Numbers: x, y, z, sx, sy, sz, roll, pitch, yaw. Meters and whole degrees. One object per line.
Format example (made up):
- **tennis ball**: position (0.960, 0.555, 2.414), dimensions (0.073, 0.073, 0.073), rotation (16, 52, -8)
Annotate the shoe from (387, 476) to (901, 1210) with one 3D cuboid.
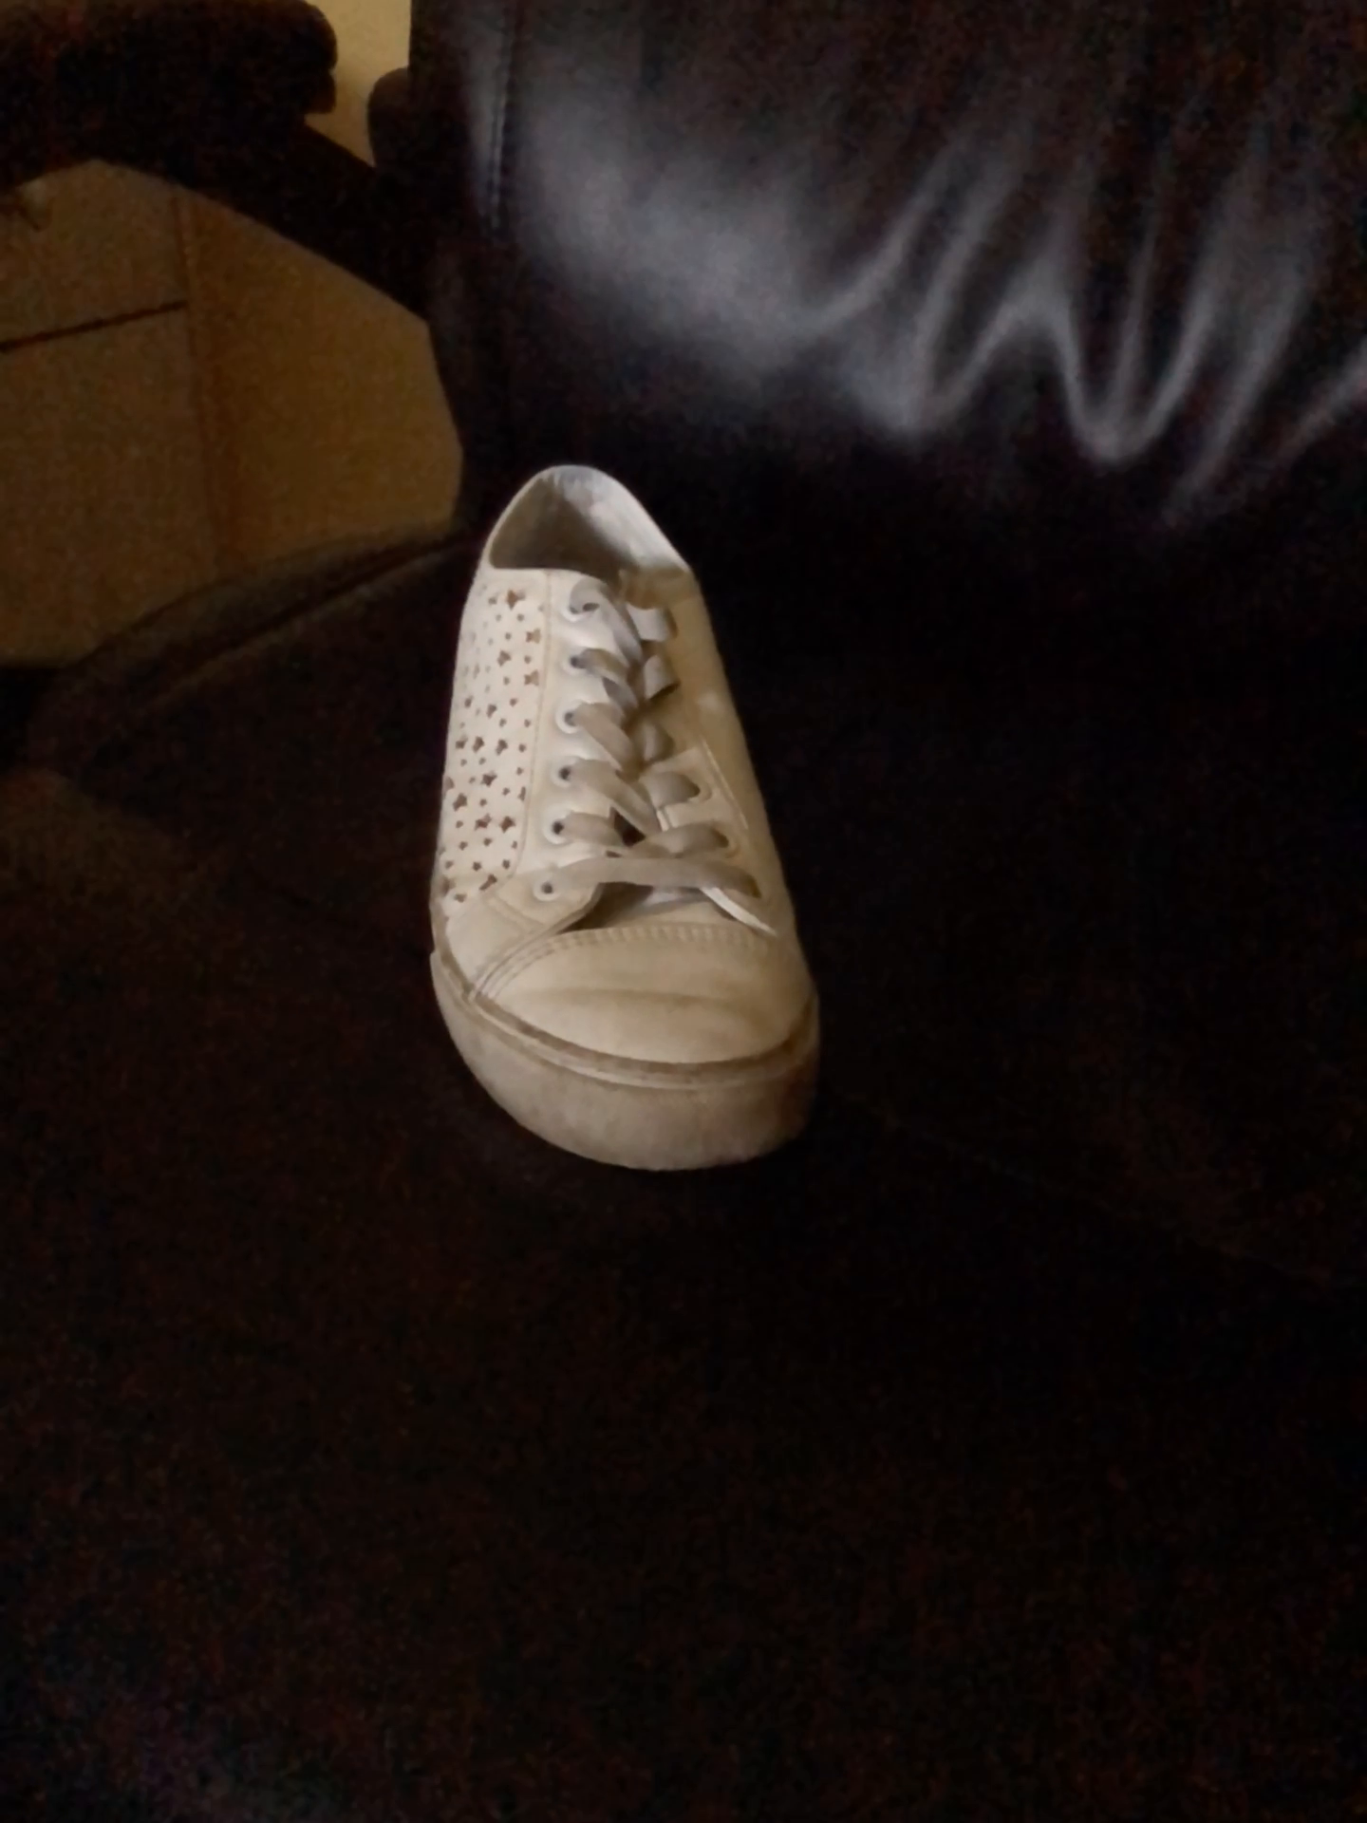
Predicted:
- **shoe**: position (-0.026, -0.043, 0.428), dimensions (0.100, 0.099, 0.261), rotation (-2, 29, -8)
